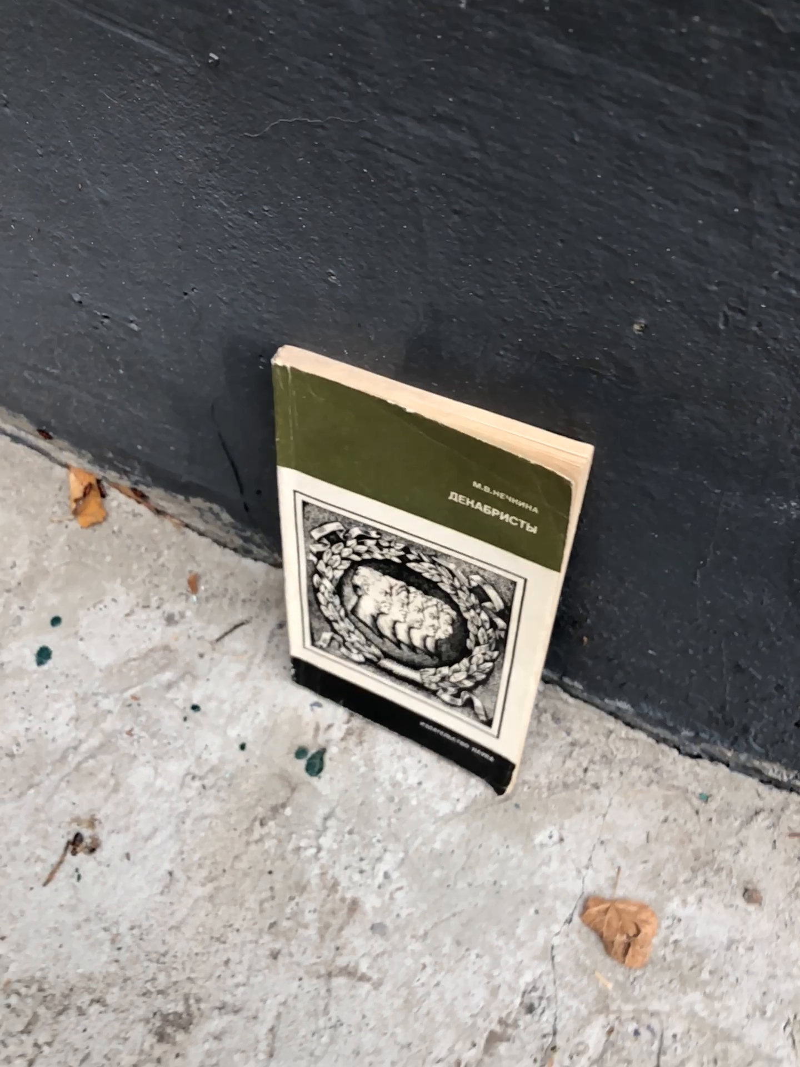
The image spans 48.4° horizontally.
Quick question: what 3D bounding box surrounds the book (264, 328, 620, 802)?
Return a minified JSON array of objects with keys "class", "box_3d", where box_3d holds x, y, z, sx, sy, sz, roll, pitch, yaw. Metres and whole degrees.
[{"class":"book","box_3d":[0.004,0.020,0.343,0.120,0.169,0.020,23,42,19]}]
